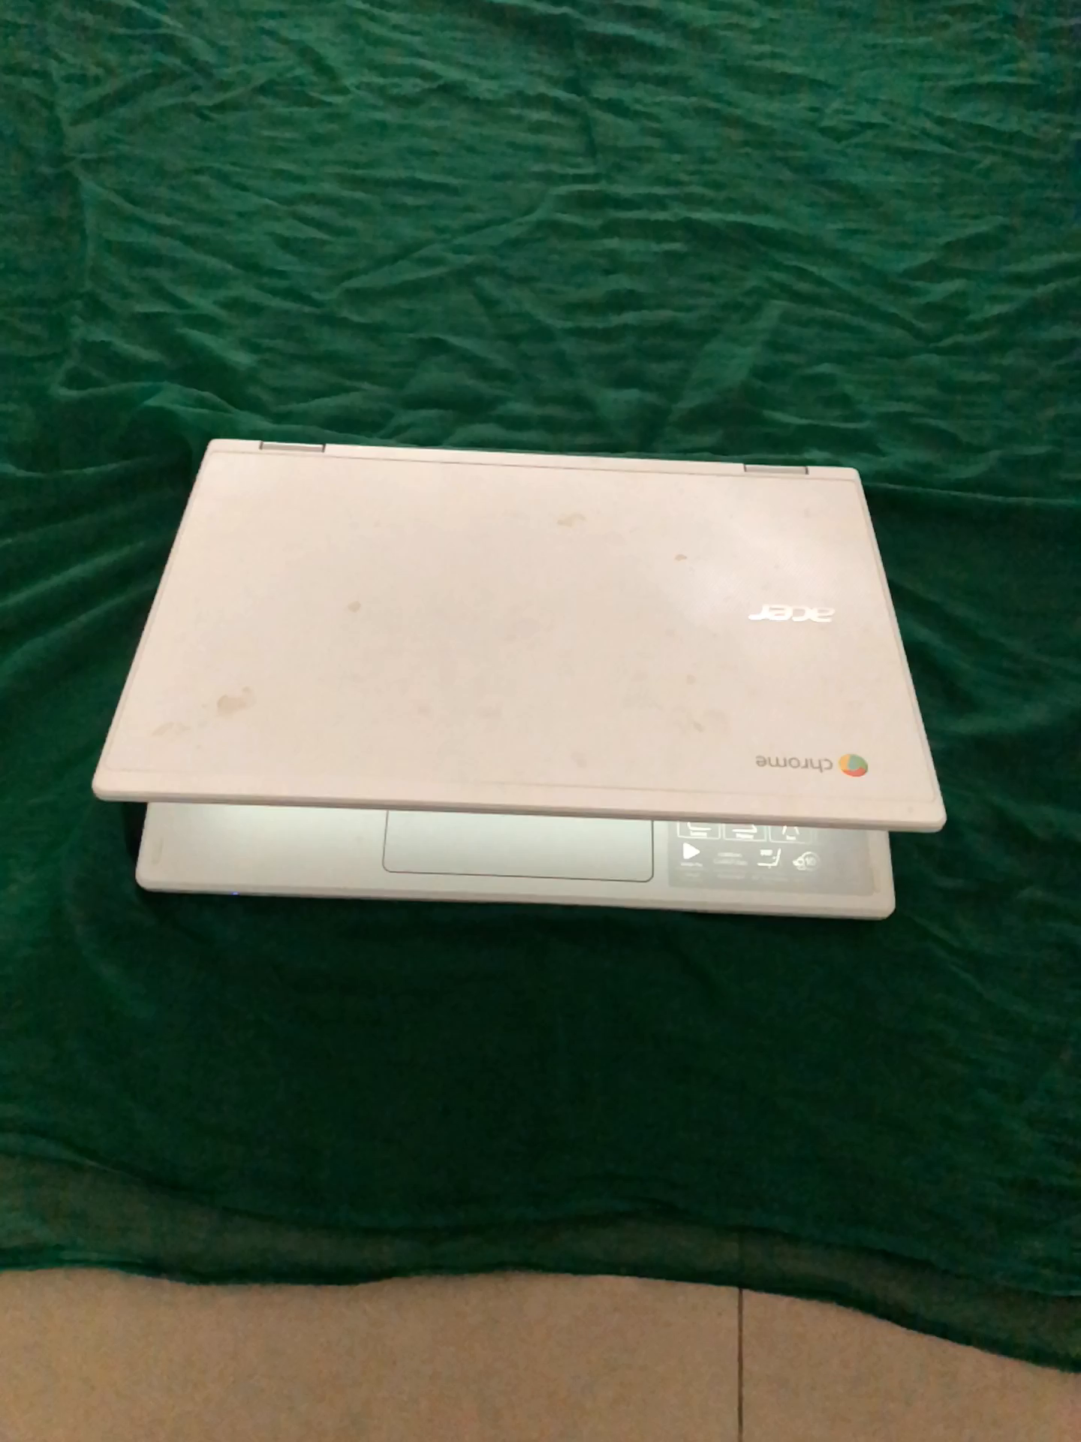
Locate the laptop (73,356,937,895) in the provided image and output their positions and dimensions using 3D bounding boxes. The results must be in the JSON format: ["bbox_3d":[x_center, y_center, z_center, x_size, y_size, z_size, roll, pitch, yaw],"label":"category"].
[{"bbox_3d":[-0.007,-0.040,0.458,0.281,0.065,0.194,2,64,0],"label":"laptop"}]
